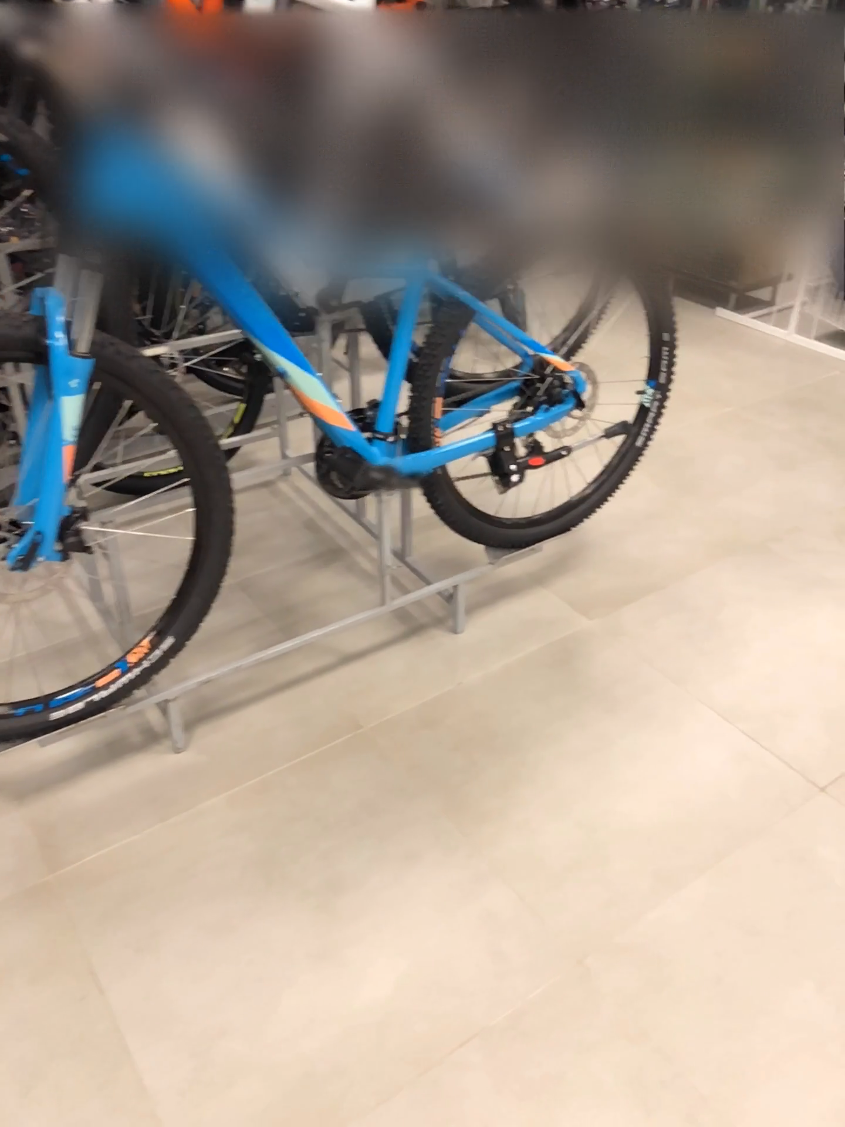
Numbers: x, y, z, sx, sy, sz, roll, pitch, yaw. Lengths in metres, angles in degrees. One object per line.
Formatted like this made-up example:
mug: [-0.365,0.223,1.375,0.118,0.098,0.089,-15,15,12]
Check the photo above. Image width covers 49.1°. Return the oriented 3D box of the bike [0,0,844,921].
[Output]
bike: [-0.235,-0.365,1.586,1.704,1.082,0.632,-21,39,-29]
